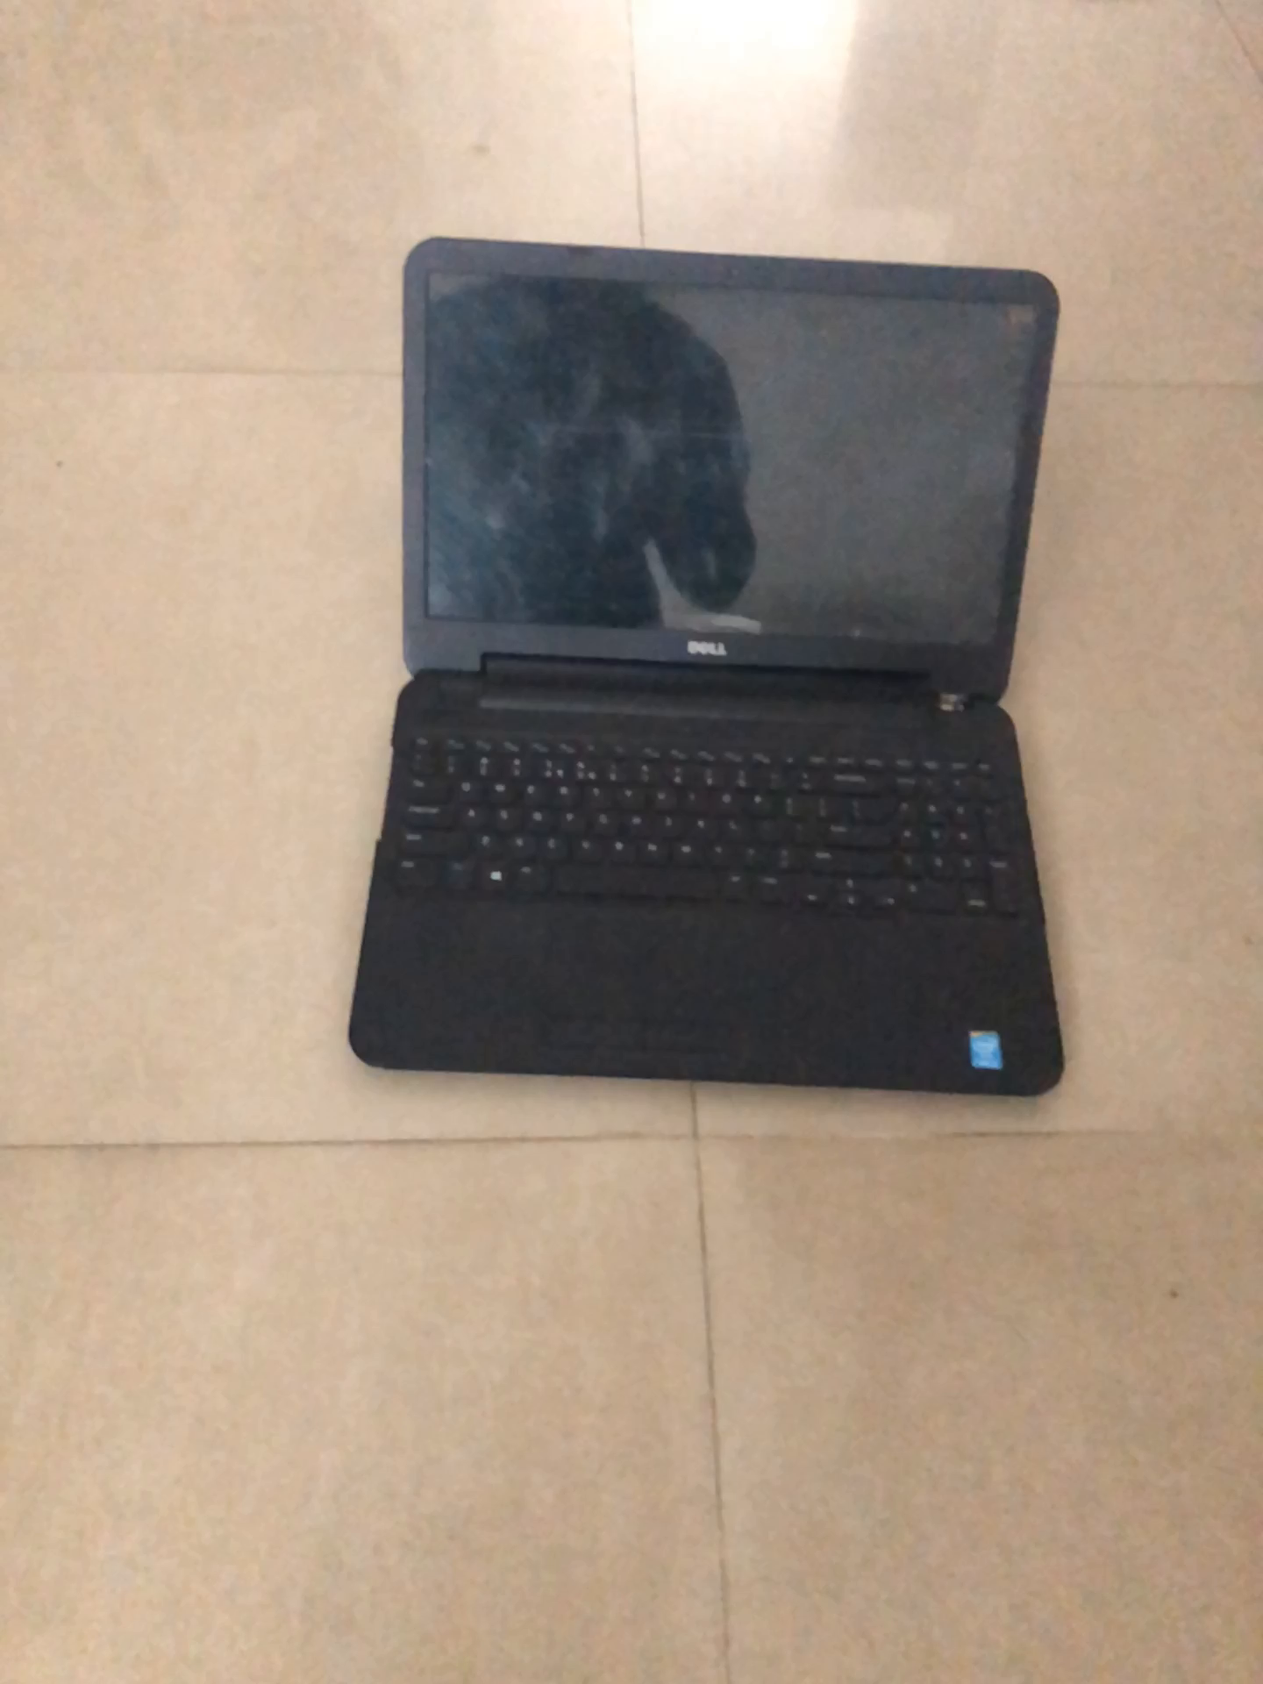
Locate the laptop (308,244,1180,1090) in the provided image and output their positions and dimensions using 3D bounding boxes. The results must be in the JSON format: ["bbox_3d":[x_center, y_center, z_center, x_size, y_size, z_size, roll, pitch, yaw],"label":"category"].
[{"bbox_3d":[0.046,-0.103,0.731,0.343,0.178,0.406,3,56,-1],"label":"laptop"}]
